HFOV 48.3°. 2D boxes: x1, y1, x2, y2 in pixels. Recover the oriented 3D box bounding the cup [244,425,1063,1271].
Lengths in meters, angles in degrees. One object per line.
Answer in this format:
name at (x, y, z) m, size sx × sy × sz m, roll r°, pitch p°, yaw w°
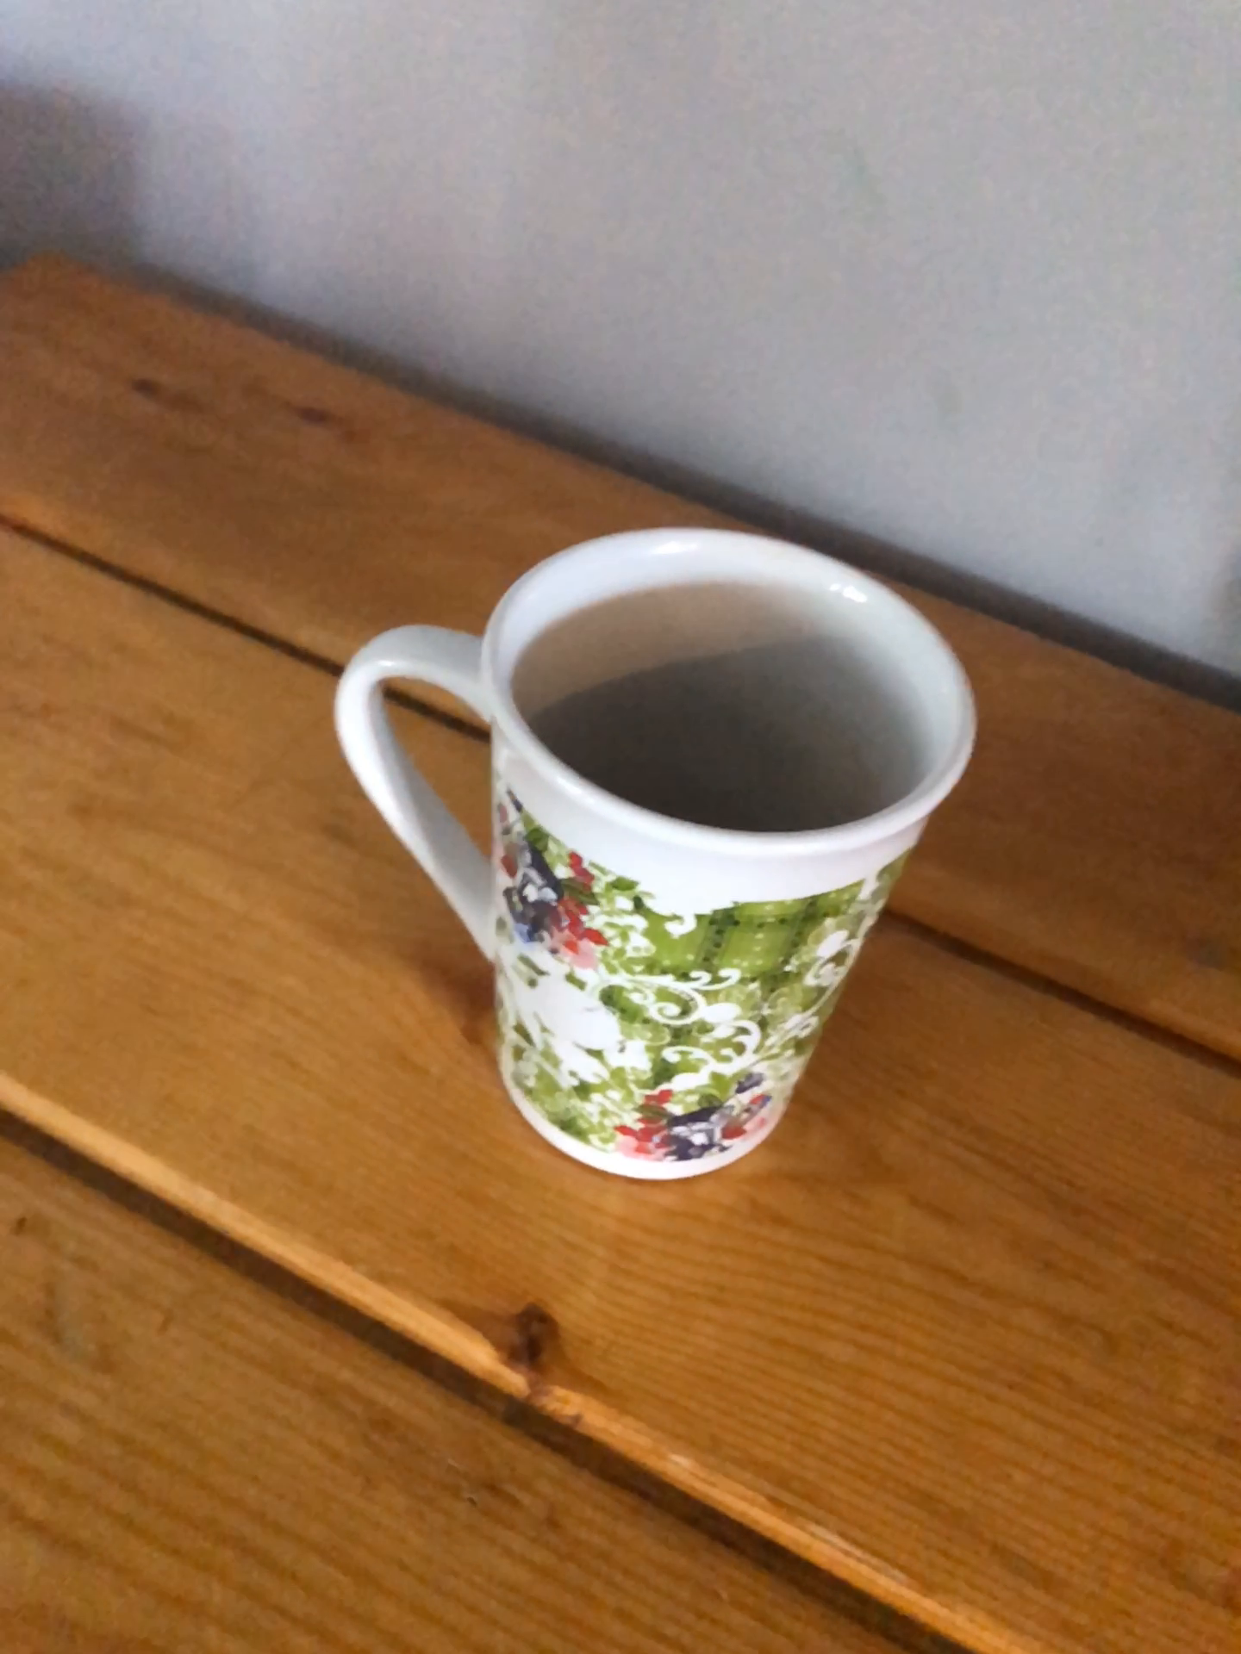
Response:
cup at (0.005, 0.005, 0.301) m, size 0.130 × 0.120 × 0.090 m, roll 20°, pitch 48°, yaw 10°
